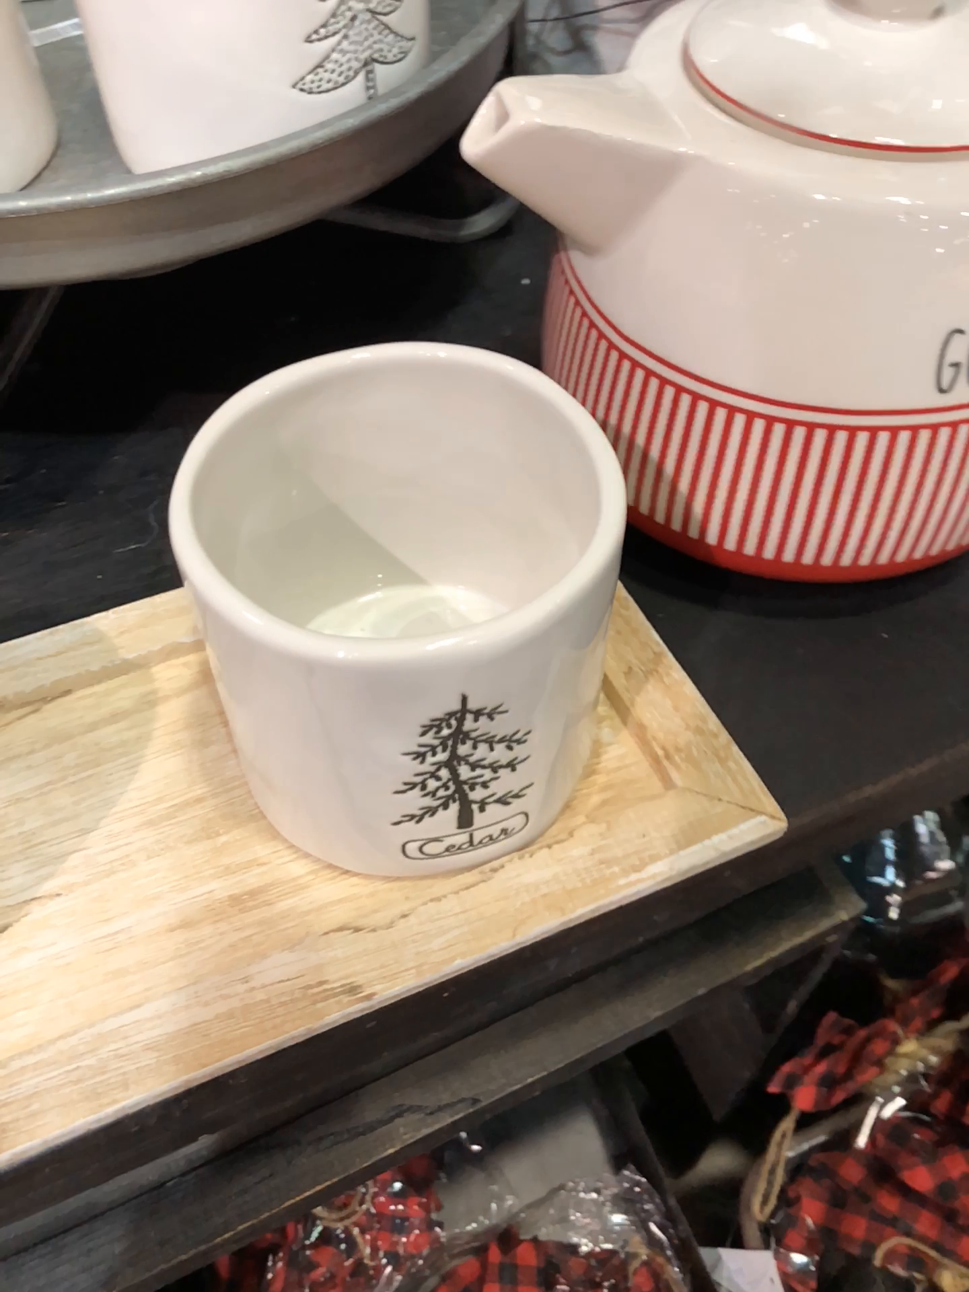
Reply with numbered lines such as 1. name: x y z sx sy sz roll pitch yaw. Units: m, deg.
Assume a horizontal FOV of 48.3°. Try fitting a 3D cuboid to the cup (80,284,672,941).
1. cup: -0.025 -0.005 0.241 0.097 0.100 0.087 -11 53 -8
